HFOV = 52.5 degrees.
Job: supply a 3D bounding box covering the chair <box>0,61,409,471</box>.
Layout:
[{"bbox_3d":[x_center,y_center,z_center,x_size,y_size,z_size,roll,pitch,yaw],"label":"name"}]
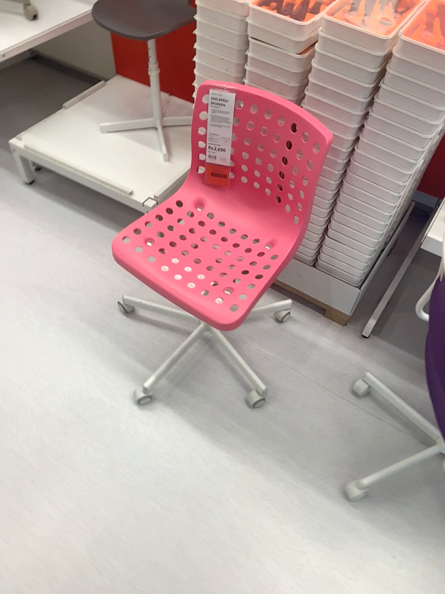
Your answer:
[{"bbox_3d":[-0.035,-0.103,1.292,0.671,0.688,0.691,31,56,20],"label":"chair"}]
